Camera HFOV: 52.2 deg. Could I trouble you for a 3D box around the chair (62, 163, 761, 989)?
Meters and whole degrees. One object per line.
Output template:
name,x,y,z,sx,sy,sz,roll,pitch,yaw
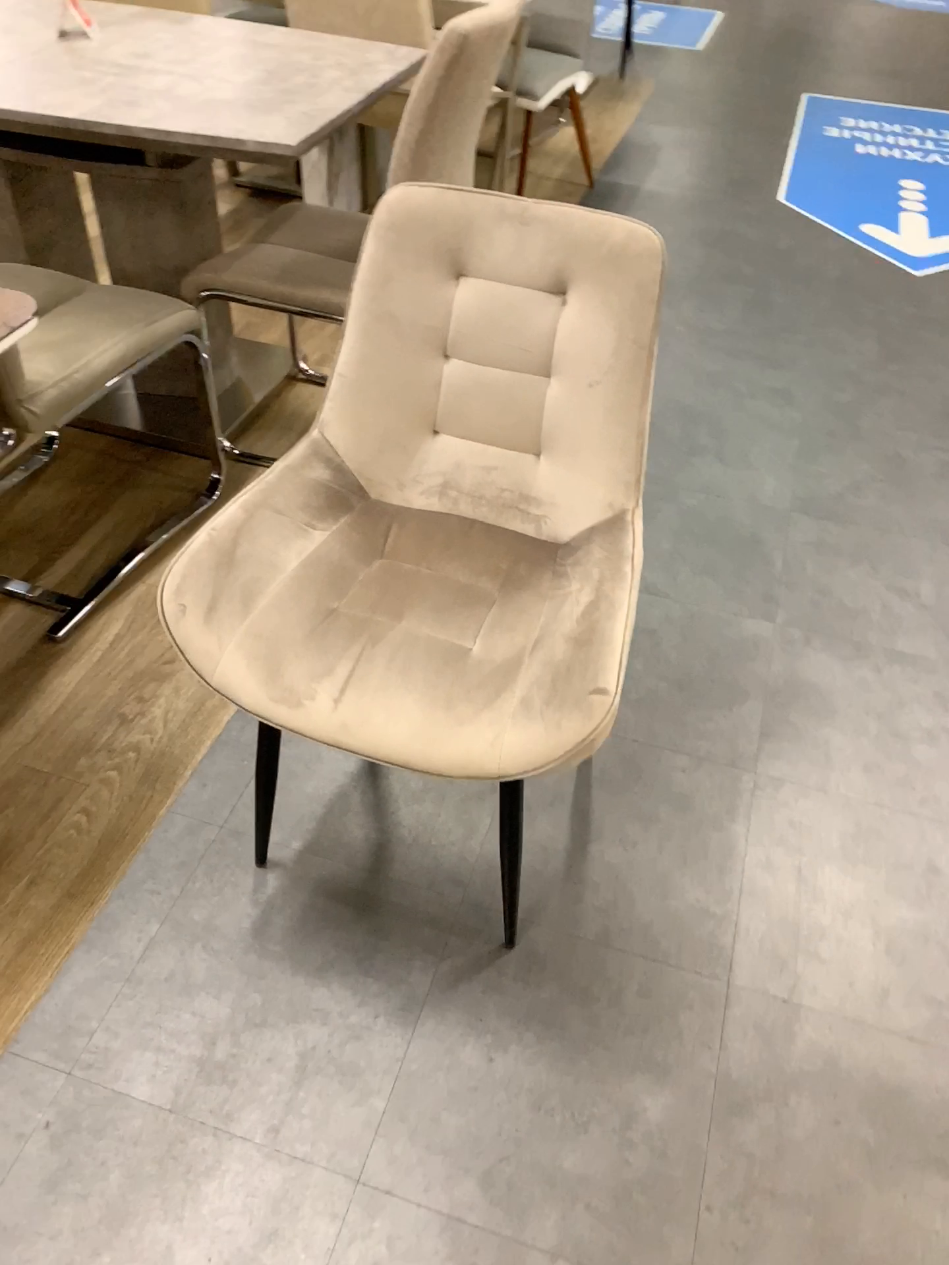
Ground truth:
chair,-0.031,-0.078,1.329,0.567,0.817,0.613,15,44,13
